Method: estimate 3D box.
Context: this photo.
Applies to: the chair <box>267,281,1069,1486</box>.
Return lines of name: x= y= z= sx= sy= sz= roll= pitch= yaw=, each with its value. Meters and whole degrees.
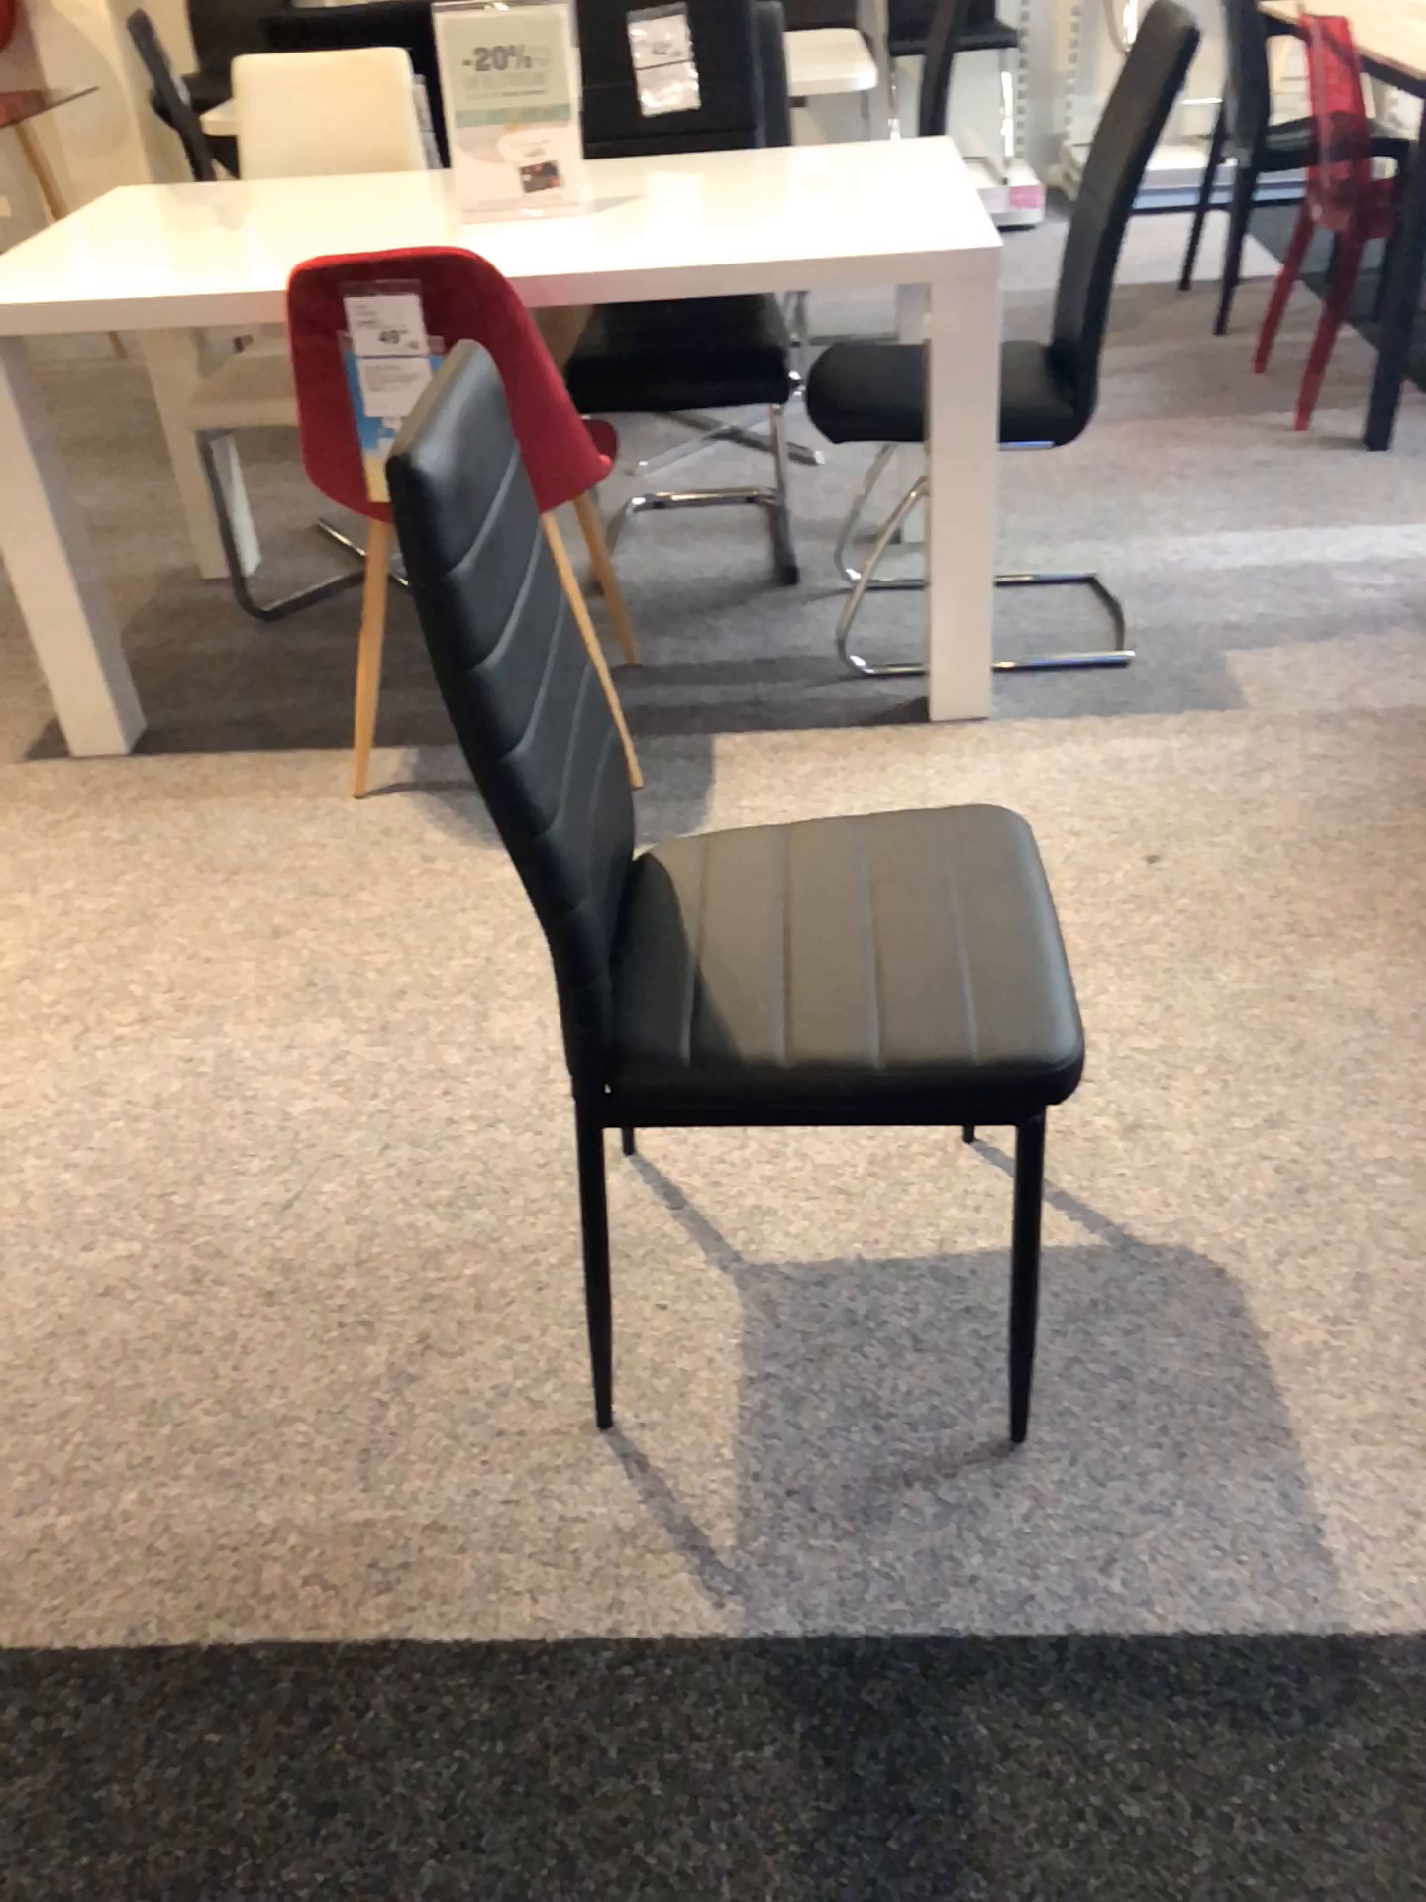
chair: x=0.013 y=-0.023 z=1.369 sx=0.470 sy=0.935 sz=0.473 roll=-1 pitch=35 yaw=5
